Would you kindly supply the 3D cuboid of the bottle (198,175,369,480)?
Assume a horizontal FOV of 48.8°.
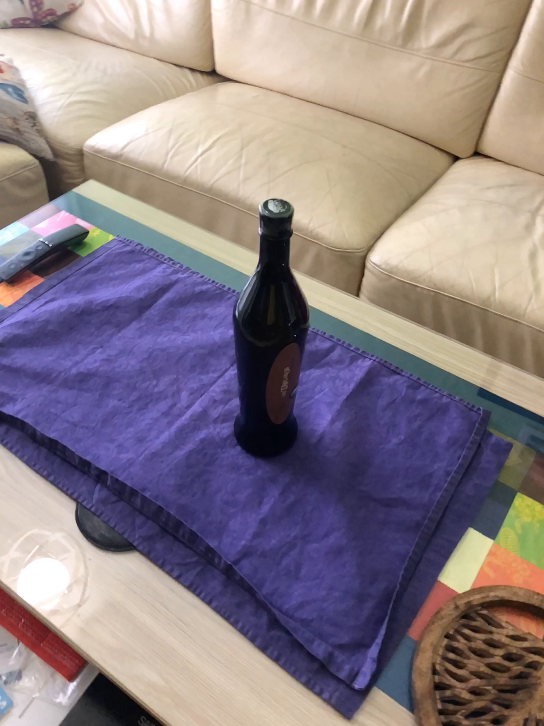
[{"bbox_3d":[0.003,-0.021,0.588,0.100,0.279,0.100,2,46,-2],"label":"bottle"}]
